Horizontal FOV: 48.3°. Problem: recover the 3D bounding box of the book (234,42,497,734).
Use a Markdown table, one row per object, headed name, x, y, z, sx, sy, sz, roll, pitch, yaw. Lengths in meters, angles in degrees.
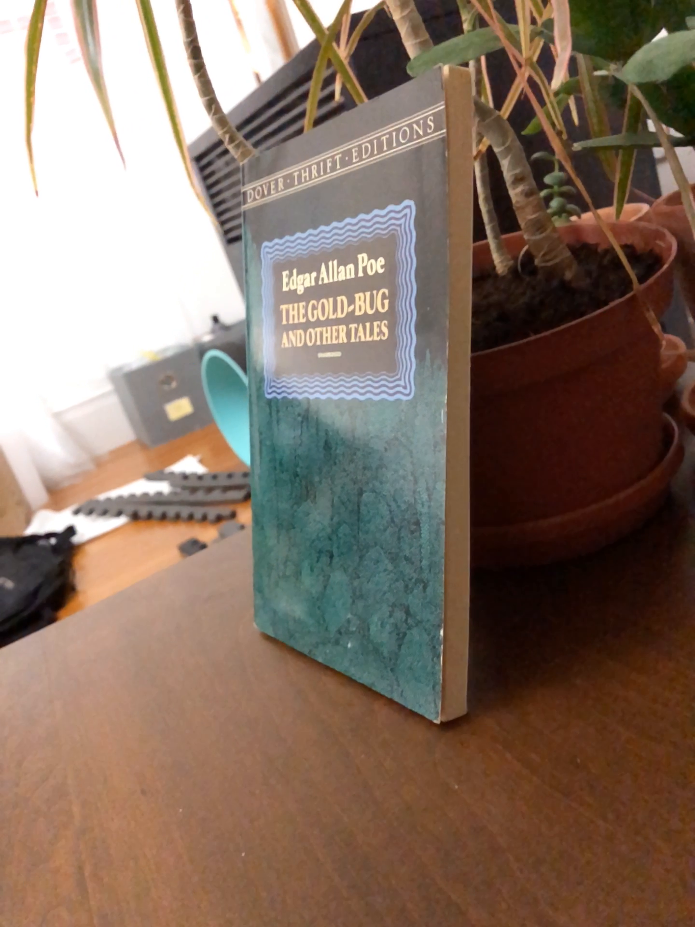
| name | x | y | z | sx | sy | sz | roll | pitch | yaw |
| --- | --- | --- | --- | --- | --- | --- | --- | --- | --- |
| book | -0.002 | -0.025 | 0.299 | 0.020 | 0.210 | 0.140 | -3 | 6 | -35 |
